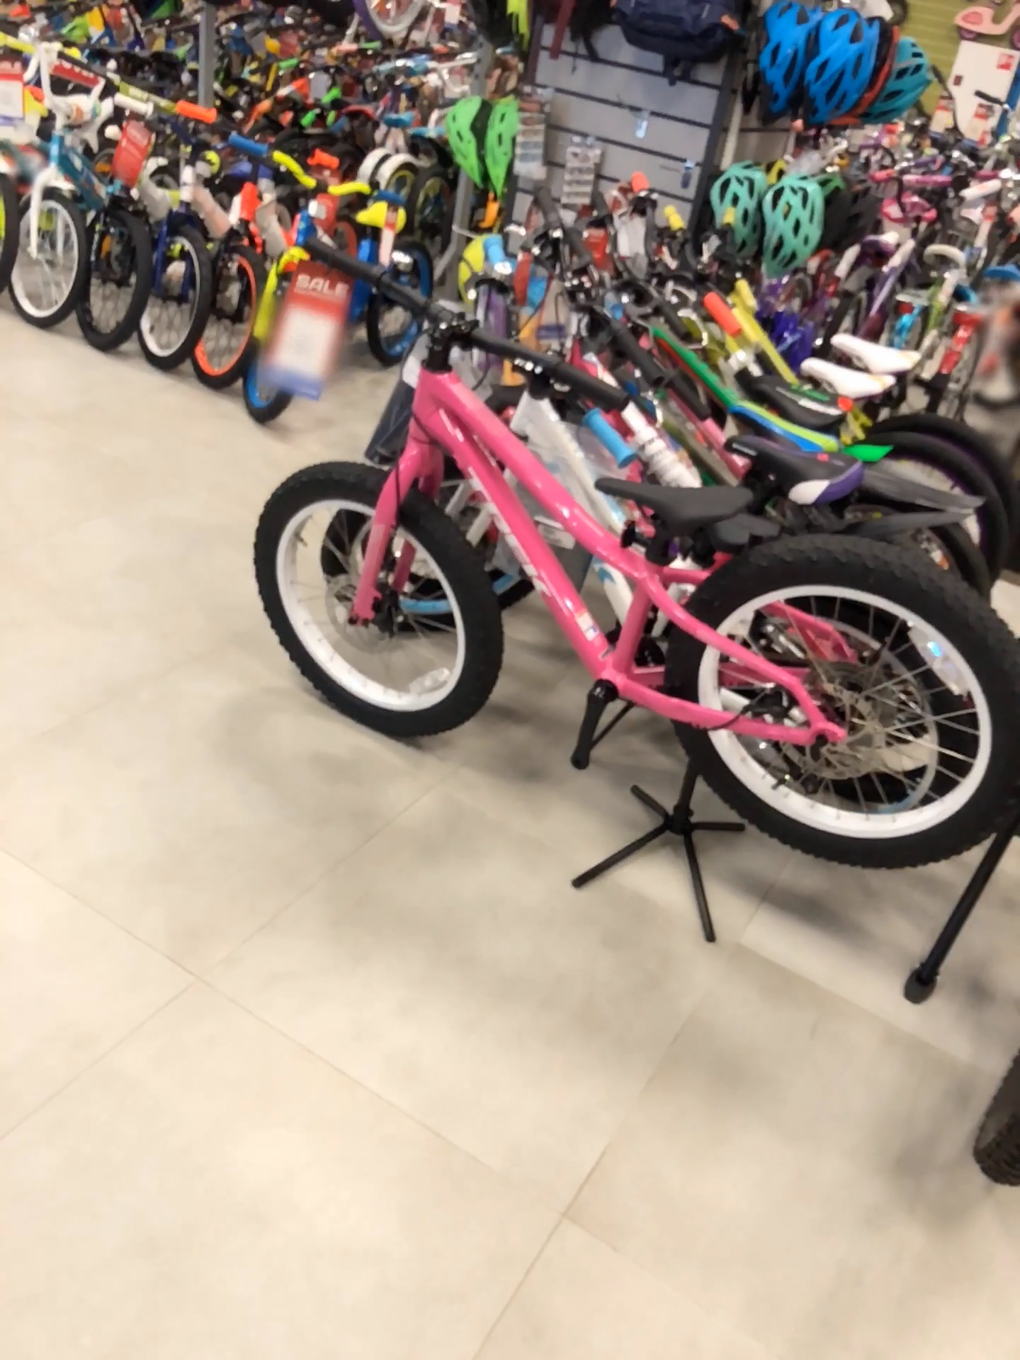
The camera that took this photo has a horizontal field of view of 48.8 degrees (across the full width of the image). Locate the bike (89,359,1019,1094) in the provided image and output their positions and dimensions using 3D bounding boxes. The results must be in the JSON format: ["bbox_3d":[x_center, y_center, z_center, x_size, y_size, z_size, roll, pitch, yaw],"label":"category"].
[{"bbox_3d":[0.072,-0.041,1.718,1.335,0.668,0.573,19,30,26],"label":"bike"}]
